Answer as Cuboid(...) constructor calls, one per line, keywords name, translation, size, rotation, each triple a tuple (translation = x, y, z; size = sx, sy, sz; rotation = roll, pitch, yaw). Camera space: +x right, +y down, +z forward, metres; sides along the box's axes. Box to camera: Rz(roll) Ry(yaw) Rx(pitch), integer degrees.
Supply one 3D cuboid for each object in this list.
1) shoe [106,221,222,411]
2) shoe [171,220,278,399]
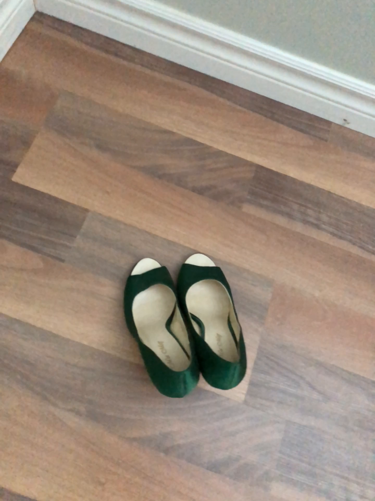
Cuboid(name="shoe", translation=(-0.040, 0.090, 0.548), size=(0.090, 0.130, 0.210), rotation=(-11, 73, -13))
Cuboid(name="shoe", translation=(0.038, 0.083, 0.553), size=(0.090, 0.130, 0.210), rotation=(-3, 71, -10))
